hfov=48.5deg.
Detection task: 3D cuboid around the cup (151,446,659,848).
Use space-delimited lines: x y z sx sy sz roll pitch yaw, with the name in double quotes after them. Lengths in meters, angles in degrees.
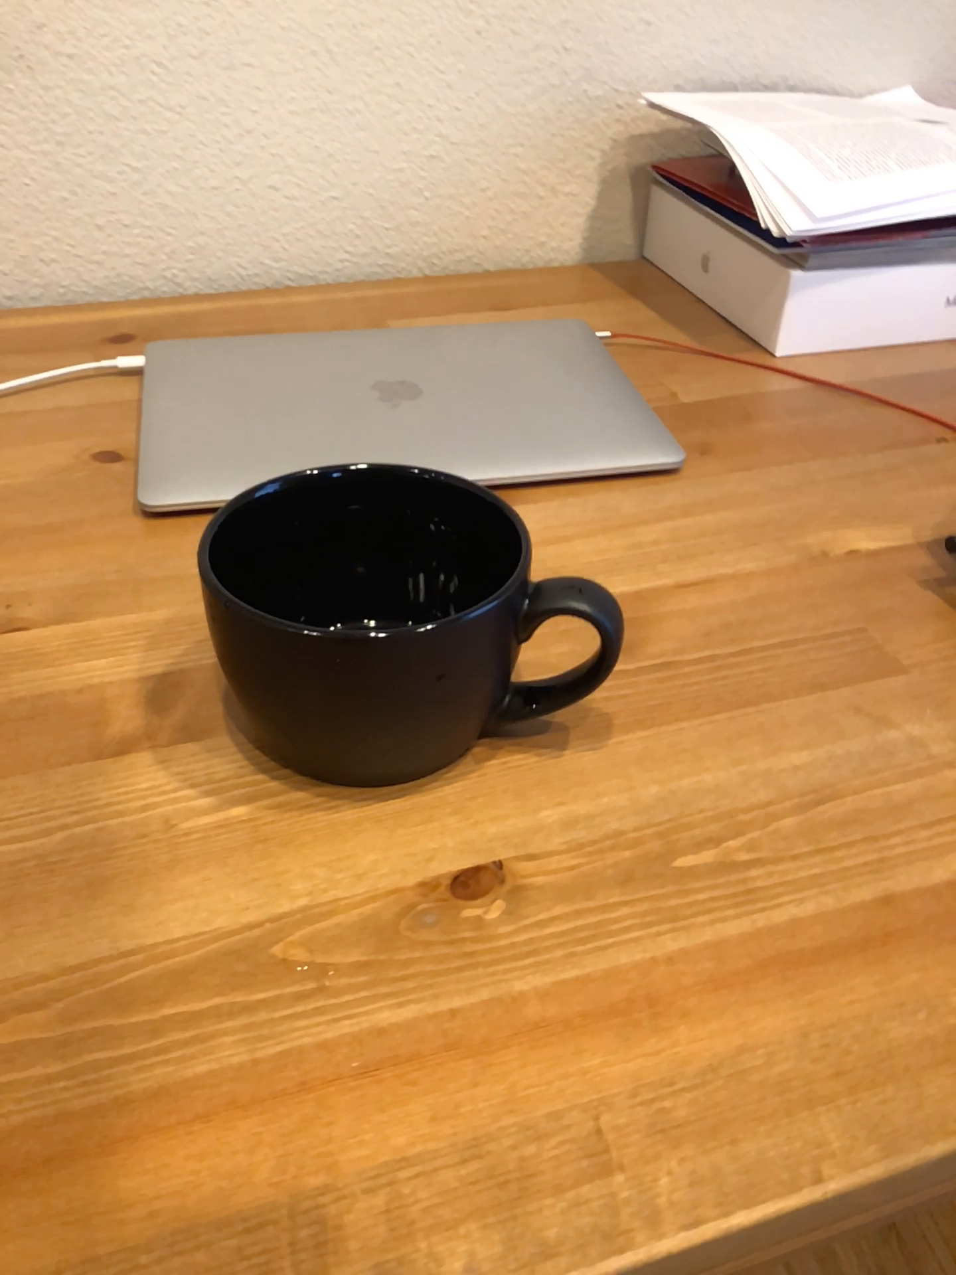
-0.019 -0.003 0.410 0.160 0.080 0.121 7 37 8 "cup"
